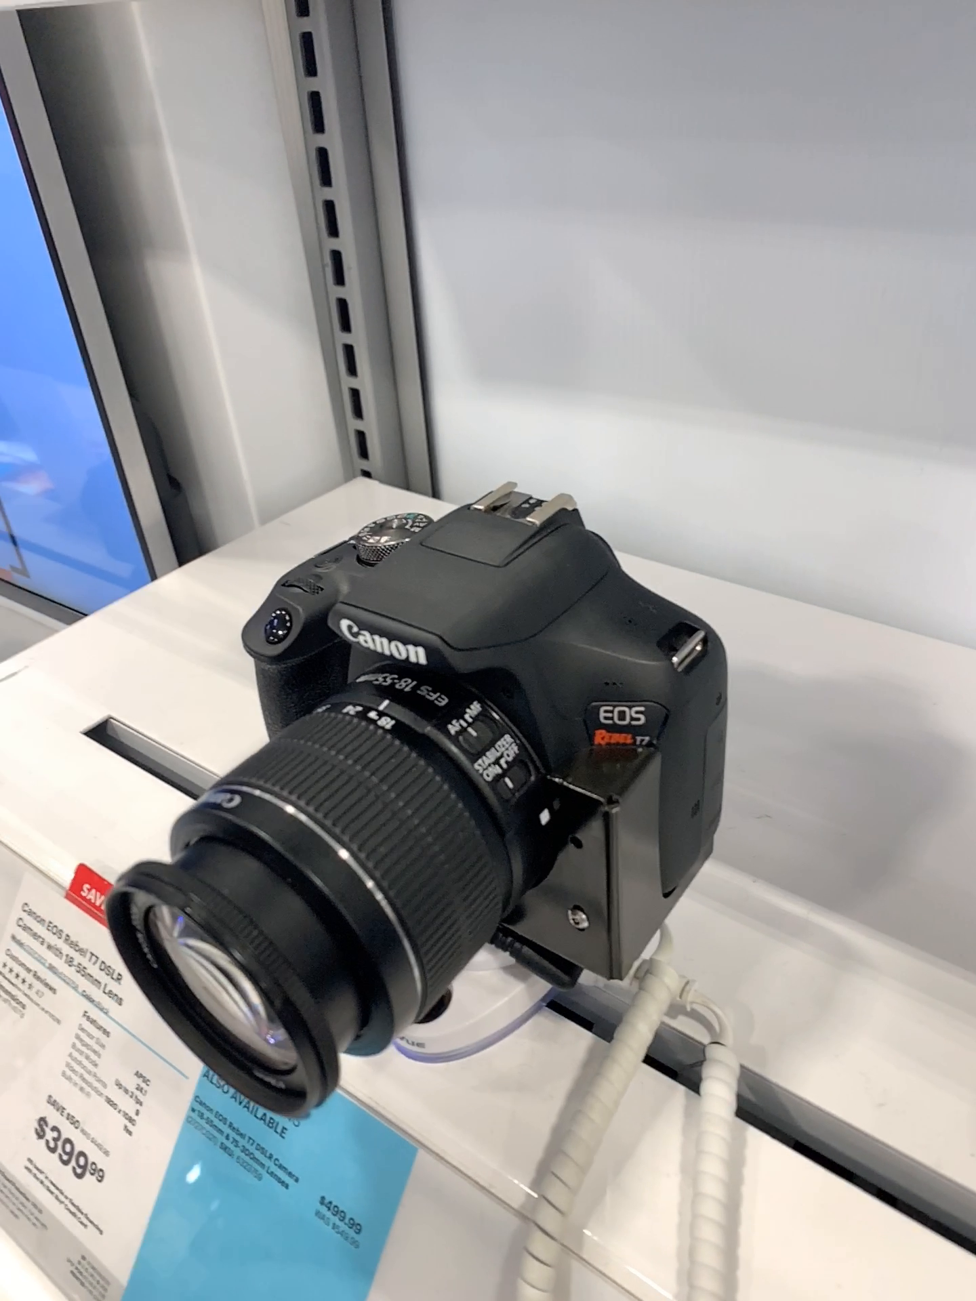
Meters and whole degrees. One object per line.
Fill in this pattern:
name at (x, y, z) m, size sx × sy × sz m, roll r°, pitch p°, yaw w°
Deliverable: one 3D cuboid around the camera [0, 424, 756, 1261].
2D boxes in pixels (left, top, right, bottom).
camera at (-0.026, 0.026, 0.247) m, size 0.126 × 0.099 × 0.141 m, roll 19°, pitch 41°, yaw 33°
